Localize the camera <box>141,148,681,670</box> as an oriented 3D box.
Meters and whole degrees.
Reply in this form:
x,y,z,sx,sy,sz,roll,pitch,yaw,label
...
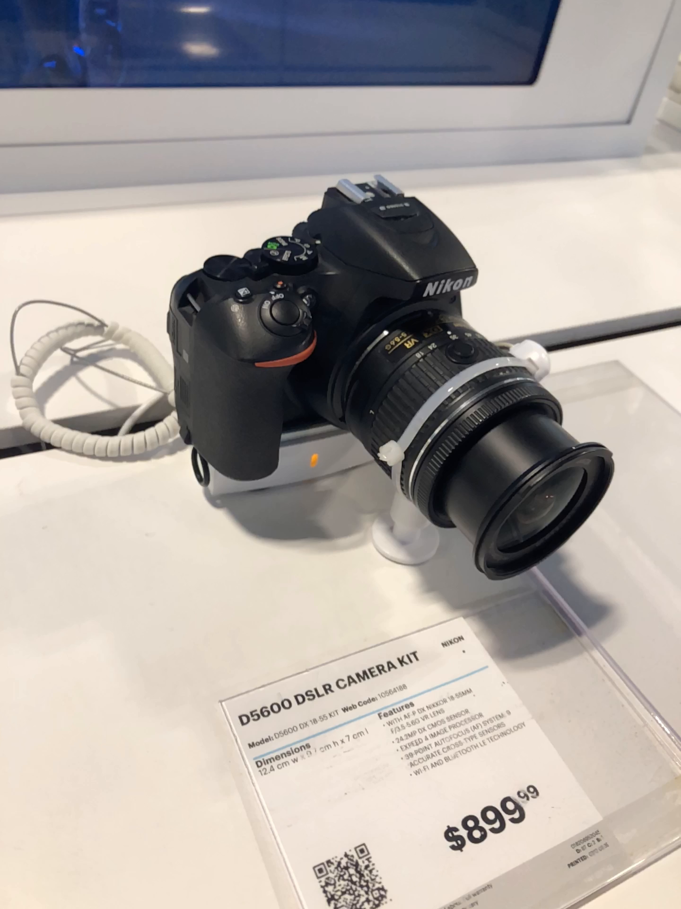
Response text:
x,y,z,sx,sy,sz,roll,pitch,yaw,label
0.021,-0.032,0.275,0.130,0.089,0.151,-18,48,-28,camera
